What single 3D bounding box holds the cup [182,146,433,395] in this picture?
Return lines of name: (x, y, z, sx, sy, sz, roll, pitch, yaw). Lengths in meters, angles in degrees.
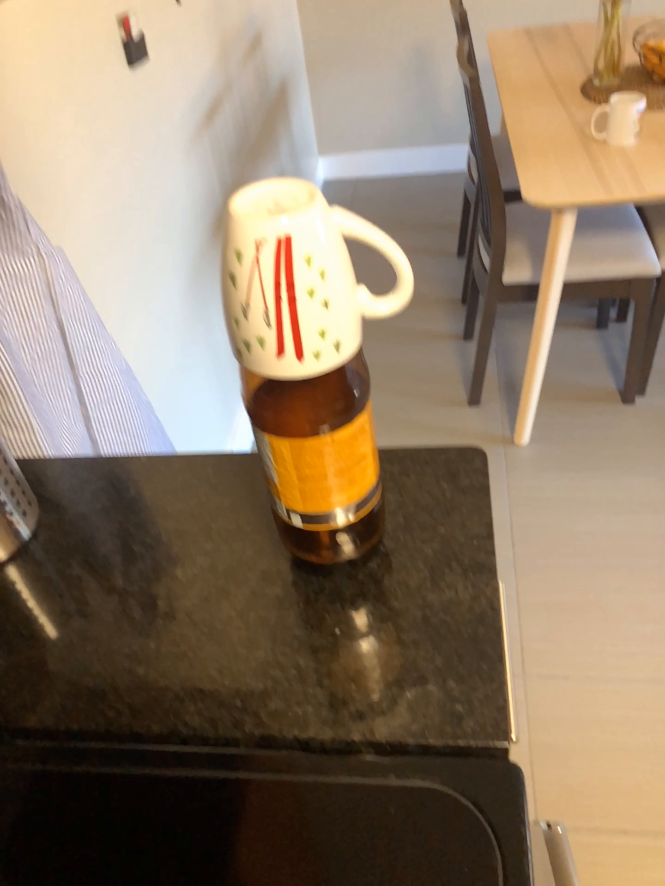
cup: (-0.016, -0.125, 0.521, 0.140, 0.109, 0.100, -18, 40, -8)
